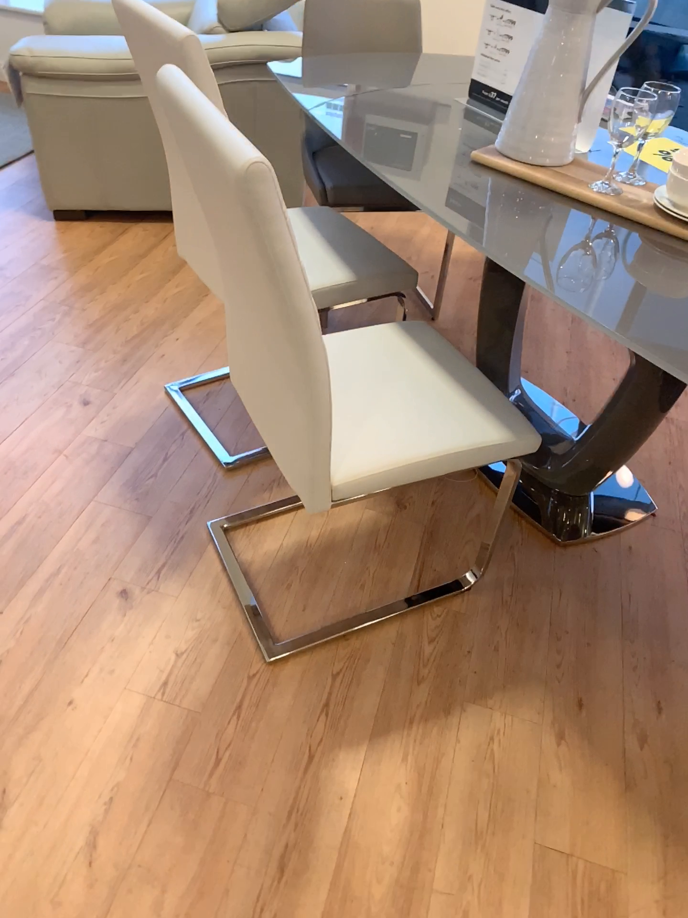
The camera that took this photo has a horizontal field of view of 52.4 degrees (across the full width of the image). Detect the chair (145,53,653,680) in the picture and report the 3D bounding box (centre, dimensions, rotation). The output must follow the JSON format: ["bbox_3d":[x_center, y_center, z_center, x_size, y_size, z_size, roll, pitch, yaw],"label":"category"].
[{"bbox_3d":[0.017,-0.134,1.227,0.536,0.923,0.425,-15,46,-23],"label":"chair"}]

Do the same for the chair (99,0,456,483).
[{"bbox_3d":[-0.172,-0.501,1.620,0.526,0.933,0.434,-20,48,-27],"label":"chair"}]
